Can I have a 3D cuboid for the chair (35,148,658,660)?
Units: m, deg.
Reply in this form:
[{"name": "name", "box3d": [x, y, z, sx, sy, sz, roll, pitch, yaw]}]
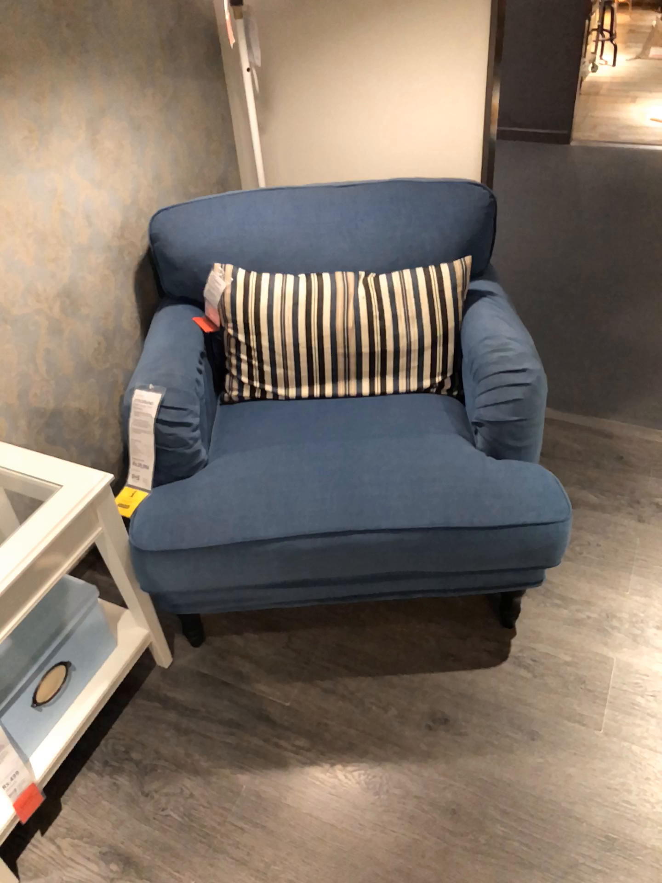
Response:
[{"name": "chair", "box3d": [0.031, -0.110, 1.569, 0.890, 0.695, 0.806, -4, 39, 1]}]
